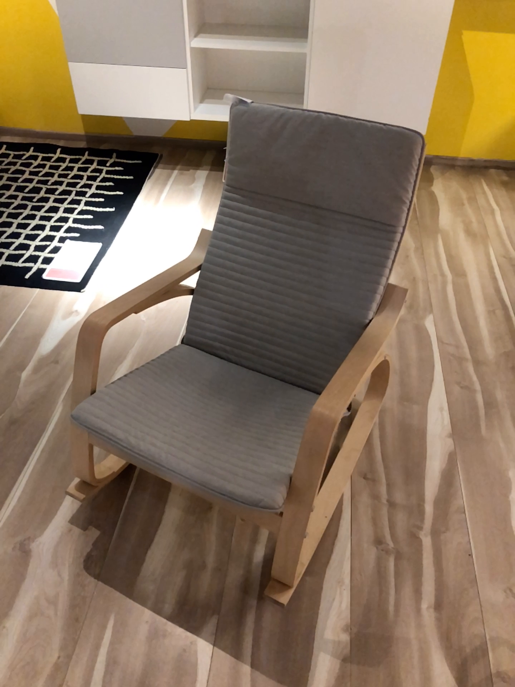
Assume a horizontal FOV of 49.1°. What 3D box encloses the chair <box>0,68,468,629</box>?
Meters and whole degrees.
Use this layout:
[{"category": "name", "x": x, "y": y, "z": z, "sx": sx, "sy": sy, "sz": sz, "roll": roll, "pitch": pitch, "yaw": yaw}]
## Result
[{"category": "chair", "x": -0.065, "y": -0.006, "z": 1.363, "sx": 0.751, "sy": 0.944, "sz": 0.704, "roll": 19, "pitch": 46, "yaw": 19}]
